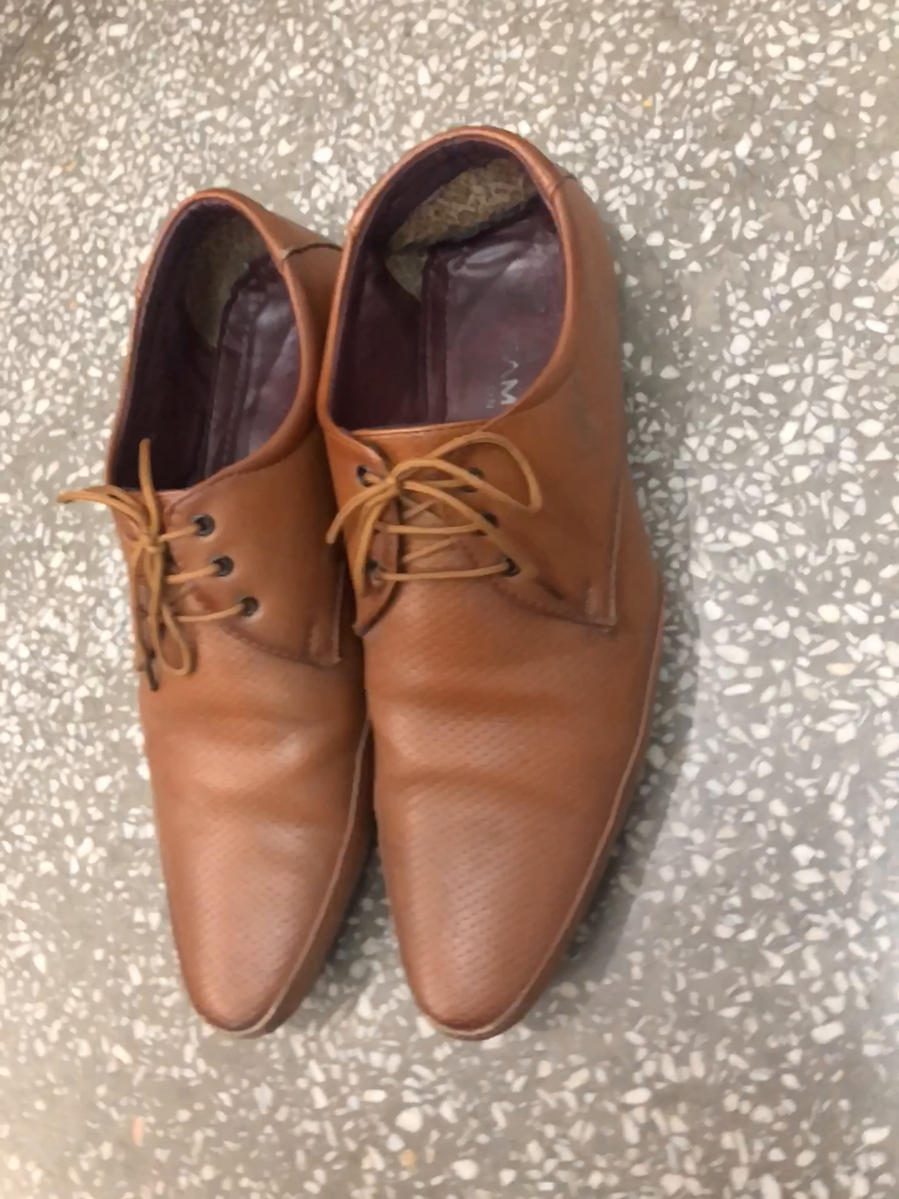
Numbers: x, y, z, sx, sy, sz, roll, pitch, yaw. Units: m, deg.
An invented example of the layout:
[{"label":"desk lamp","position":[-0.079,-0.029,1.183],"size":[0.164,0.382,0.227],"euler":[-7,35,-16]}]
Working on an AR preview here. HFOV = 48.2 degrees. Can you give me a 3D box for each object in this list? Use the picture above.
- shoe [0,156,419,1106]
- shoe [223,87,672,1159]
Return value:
[{"label":"shoe","position":[-0.085,0.010,0.372],"size":[0.105,0.118,0.284],"euler":[-3,81,21]},{"label":"shoe","position":[0.009,0.006,0.338],"size":[0.105,0.118,0.284],"euler":[-3,81,21]}]
